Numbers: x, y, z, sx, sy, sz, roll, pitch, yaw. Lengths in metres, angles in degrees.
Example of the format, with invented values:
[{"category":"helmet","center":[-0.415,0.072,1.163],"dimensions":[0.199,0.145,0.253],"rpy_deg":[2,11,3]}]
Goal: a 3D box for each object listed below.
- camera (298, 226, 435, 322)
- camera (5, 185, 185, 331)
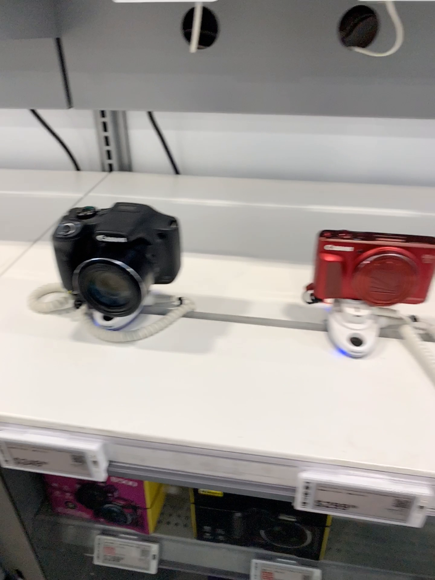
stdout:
[{"category":"camera","center":[0.138,-0.016,0.417],"dimensions":[0.120,0.070,0.040],"rpy_deg":[4,33,8]},{"category":"camera","center":[-0.101,-0.033,0.415],"dimensions":[0.120,0.089,0.101],"rpy_deg":[4,34,7]}]
